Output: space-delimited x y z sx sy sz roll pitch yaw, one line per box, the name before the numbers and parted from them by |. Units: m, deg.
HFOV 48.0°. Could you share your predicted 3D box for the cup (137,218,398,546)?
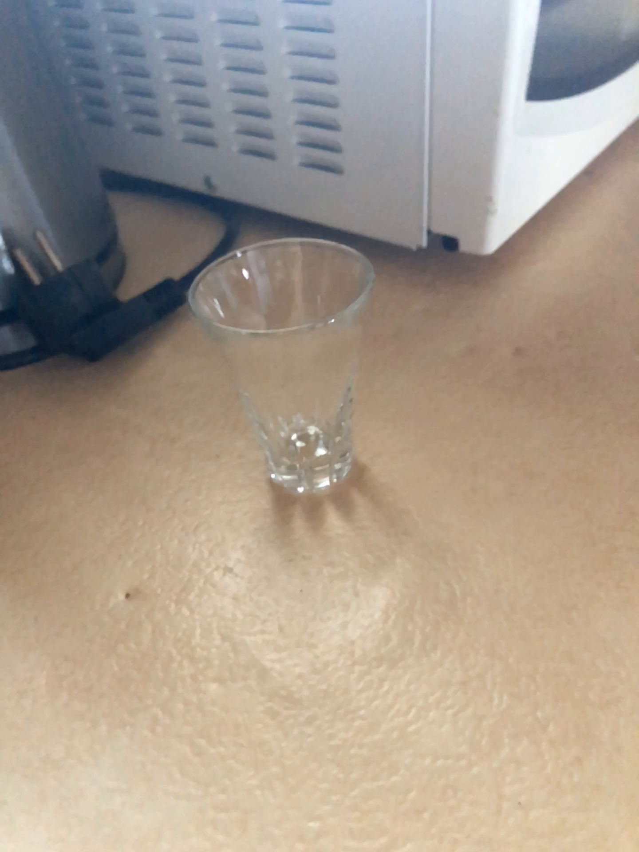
cup | -0.012 -0.014 0.216 0.050 0.070 0.050 -4 40 3
